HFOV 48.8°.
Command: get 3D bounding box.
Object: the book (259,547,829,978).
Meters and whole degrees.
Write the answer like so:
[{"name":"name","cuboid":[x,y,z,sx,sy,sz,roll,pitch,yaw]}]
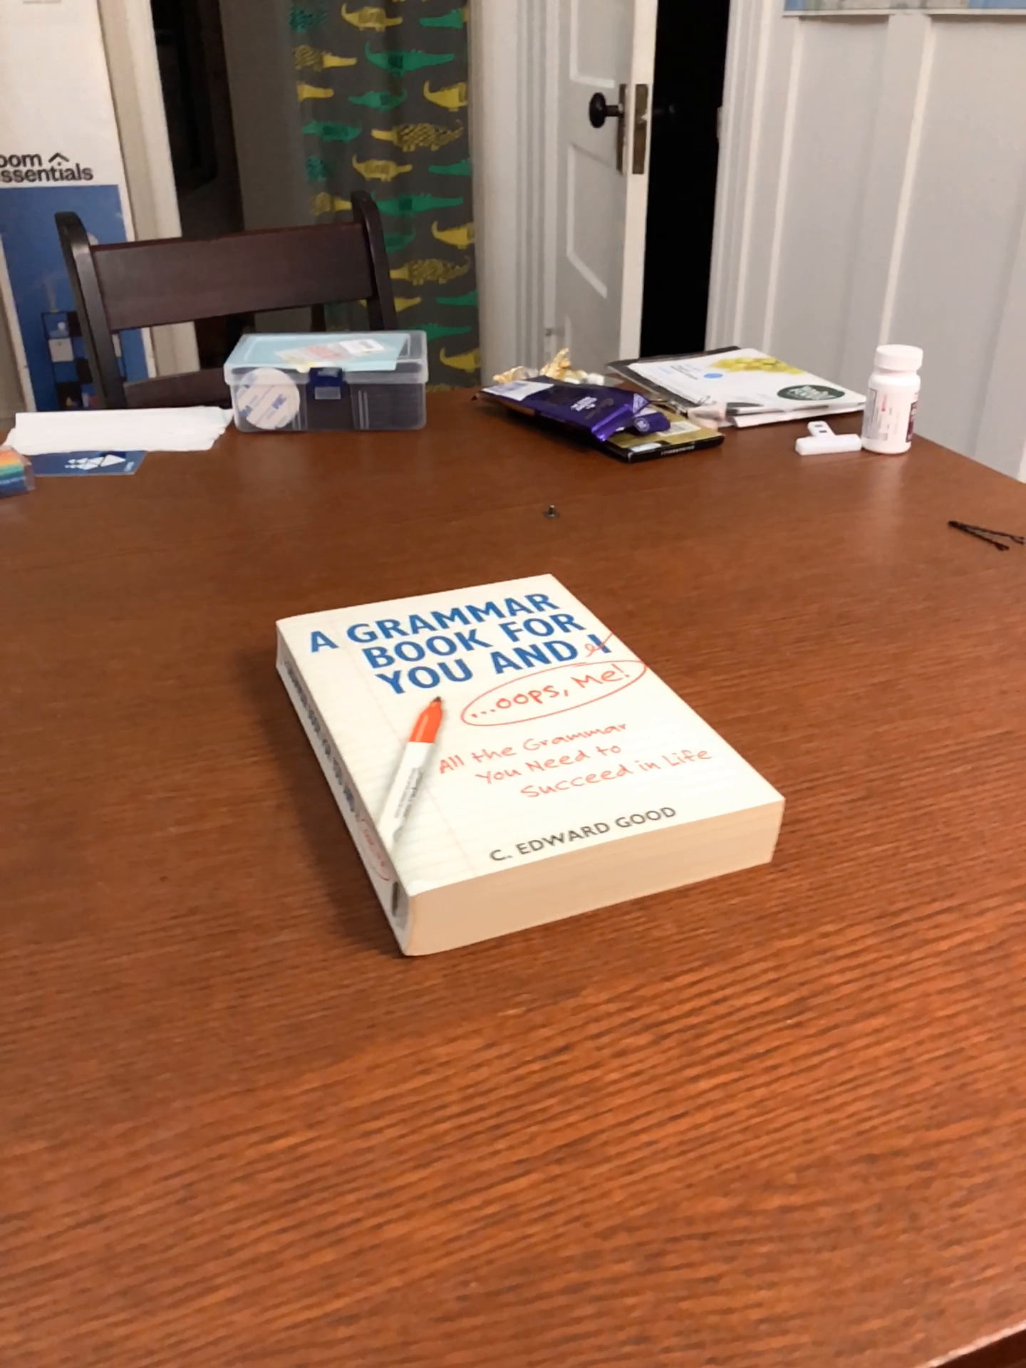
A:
[{"name":"book","cuboid":[-0.004,0.013,0.507,0.170,0.040,0.241,-11,32,-19]}]
